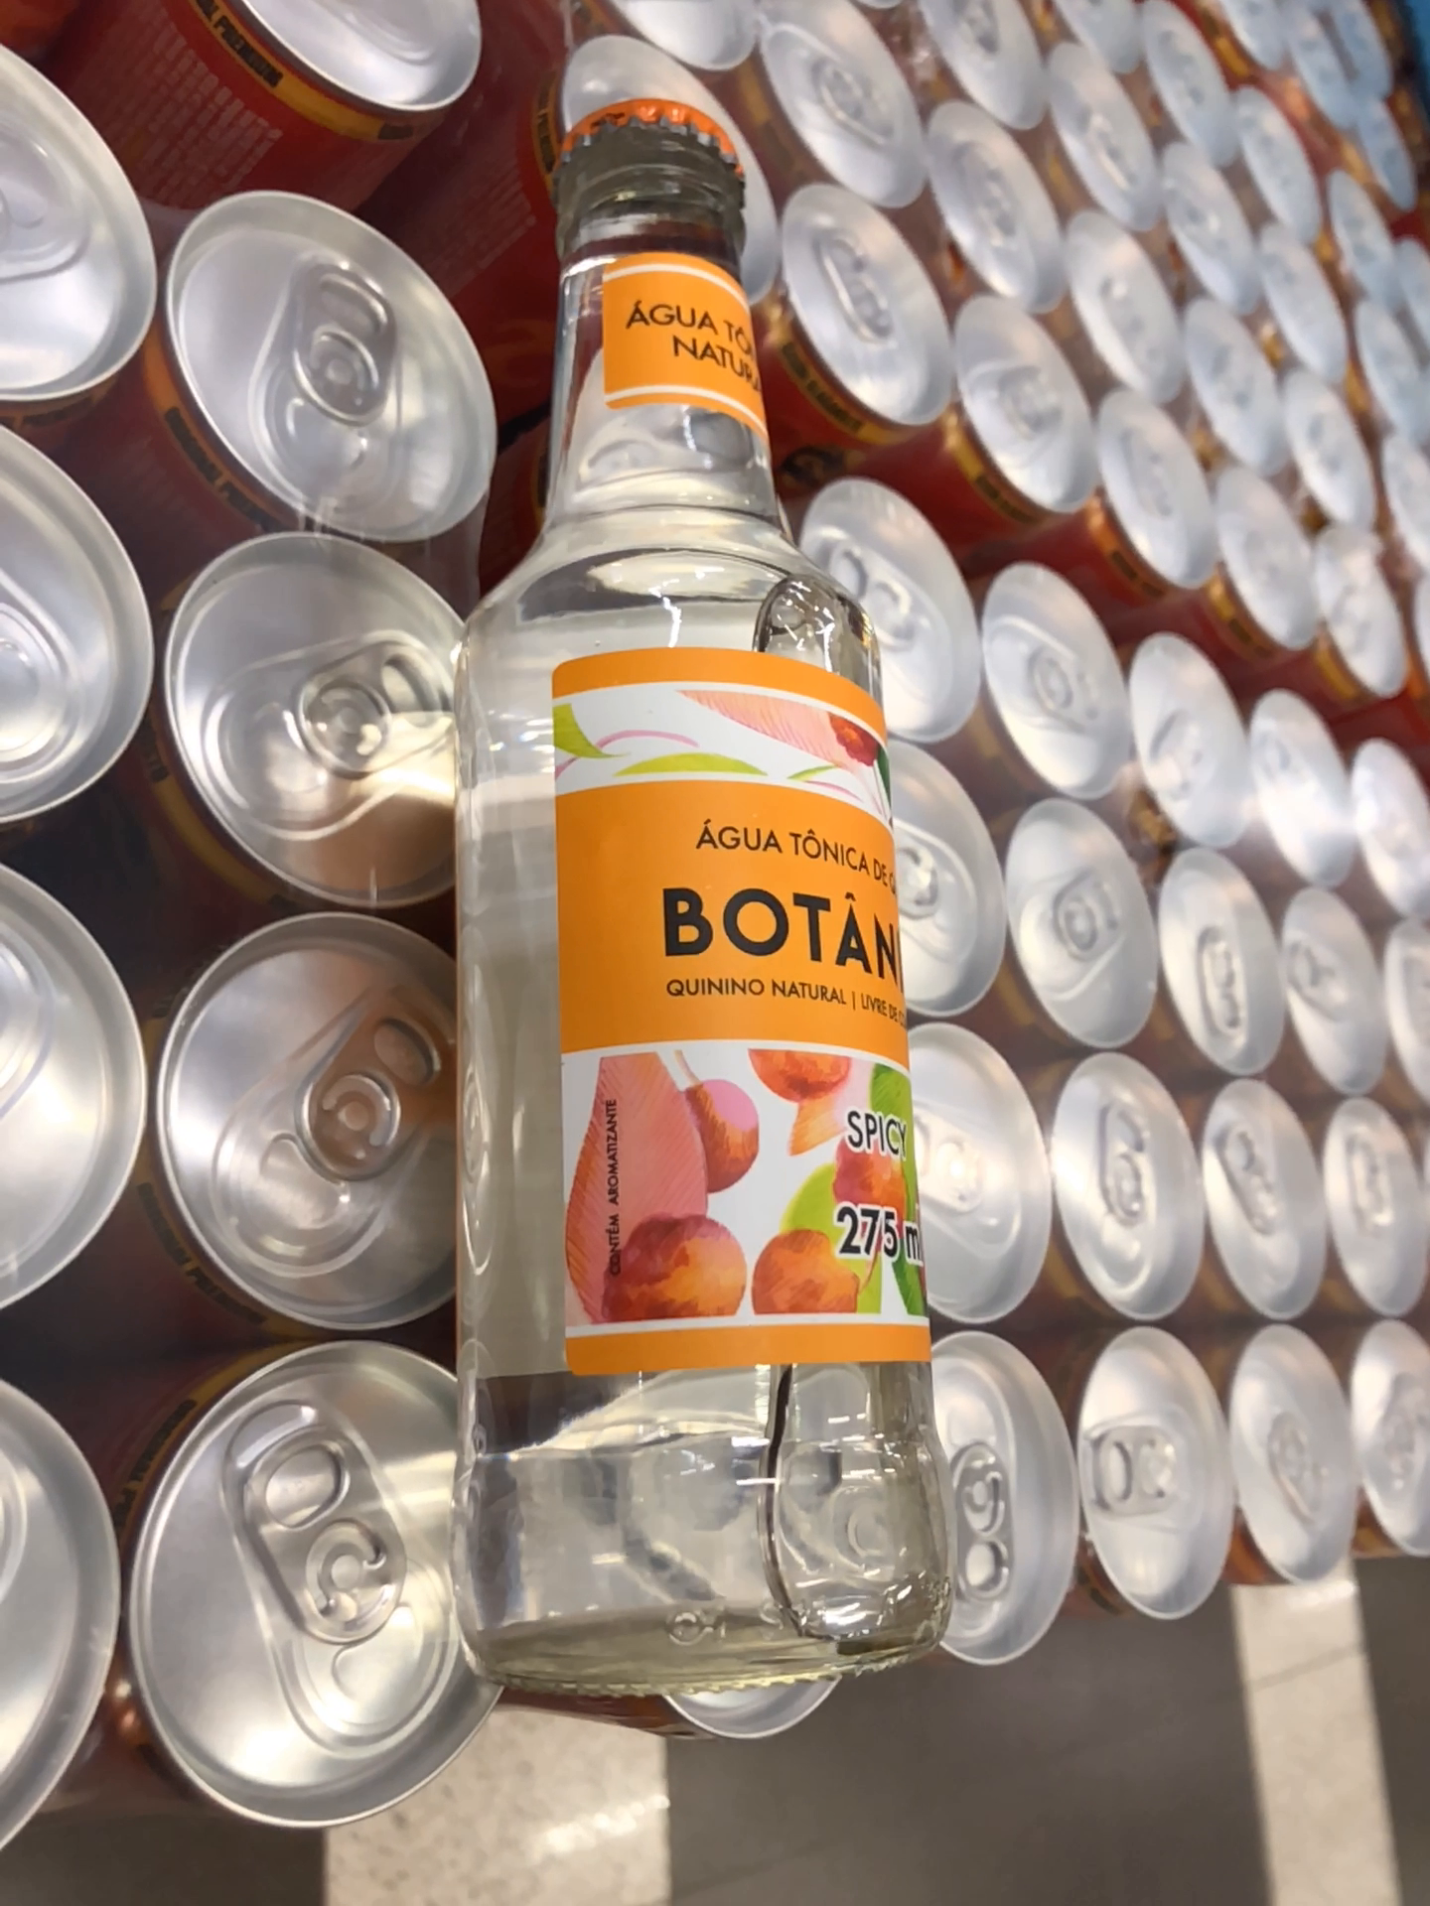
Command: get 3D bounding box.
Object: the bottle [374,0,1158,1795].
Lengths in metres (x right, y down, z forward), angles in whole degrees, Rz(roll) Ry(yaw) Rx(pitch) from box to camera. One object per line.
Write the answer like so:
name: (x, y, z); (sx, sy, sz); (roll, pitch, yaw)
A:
bottle: (0.007, -0.023, 0.198); (0.070, 0.050, 0.210); (13, 71, -43)
